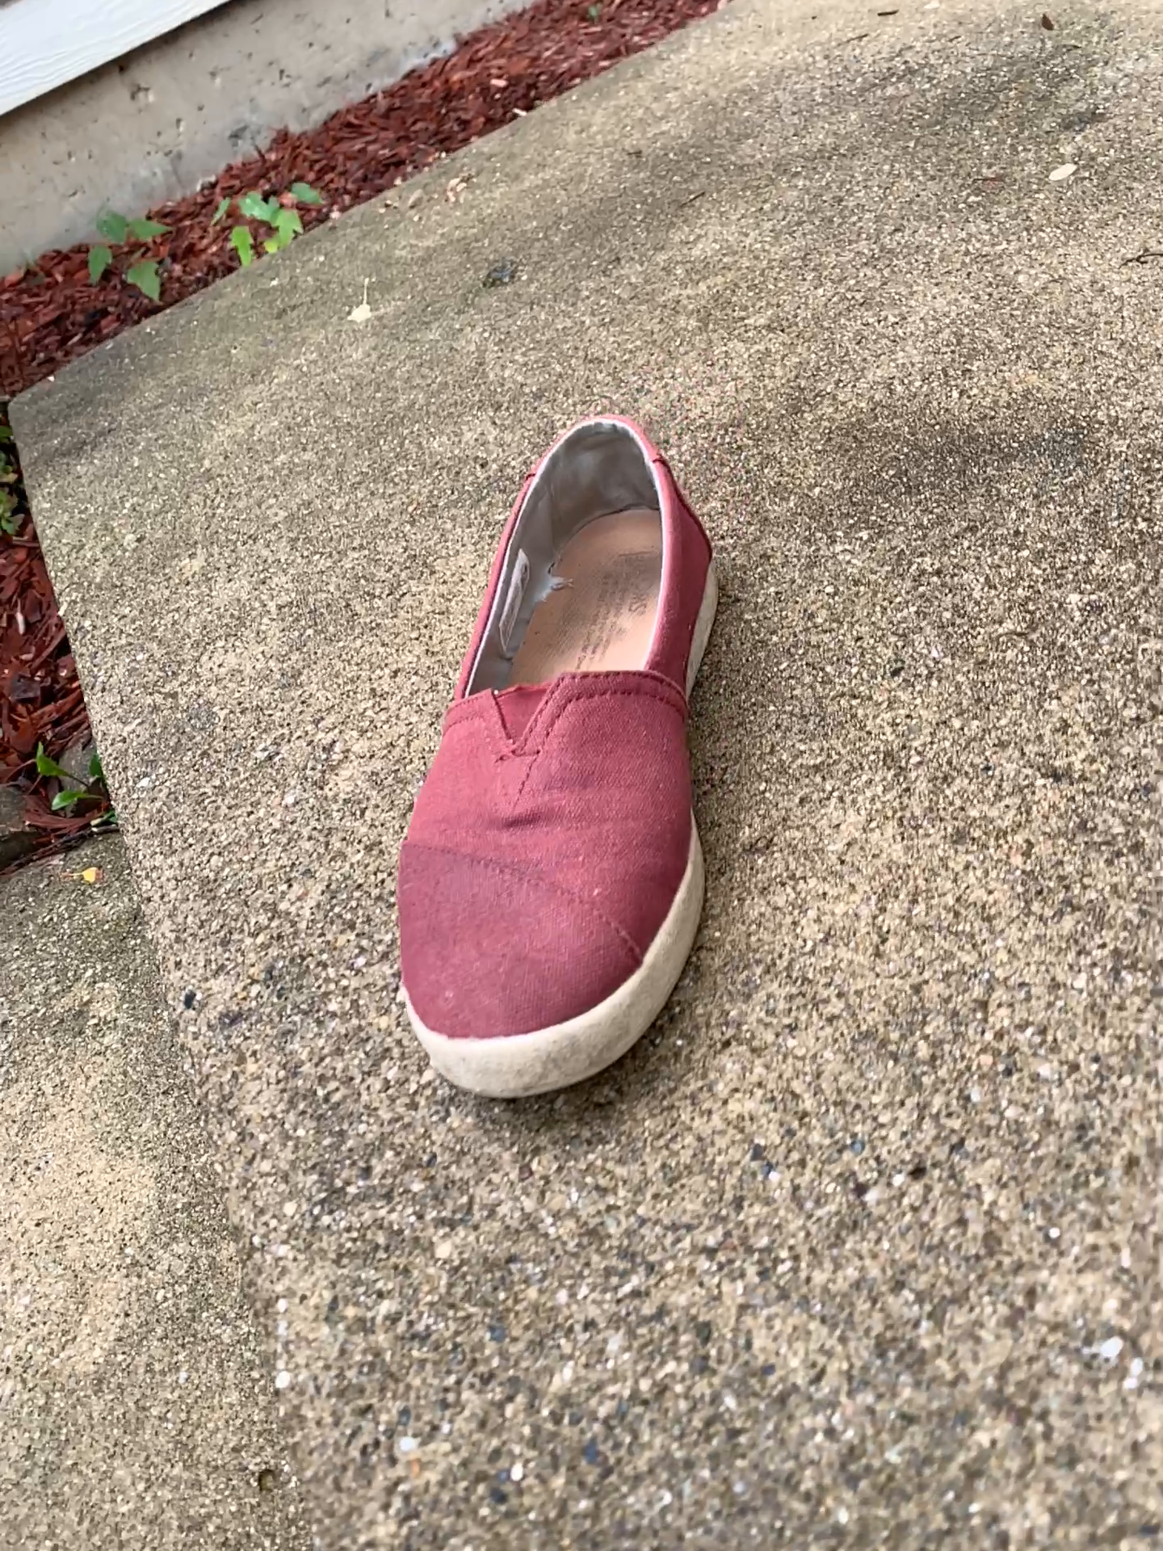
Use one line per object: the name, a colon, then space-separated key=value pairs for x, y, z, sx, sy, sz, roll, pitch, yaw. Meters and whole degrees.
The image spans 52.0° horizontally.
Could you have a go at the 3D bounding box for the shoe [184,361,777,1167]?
shoe: x=-0.009 y=-0.020 z=0.392 sx=0.098 sy=0.089 sz=0.266 roll=-4 pitch=44 yaw=23
